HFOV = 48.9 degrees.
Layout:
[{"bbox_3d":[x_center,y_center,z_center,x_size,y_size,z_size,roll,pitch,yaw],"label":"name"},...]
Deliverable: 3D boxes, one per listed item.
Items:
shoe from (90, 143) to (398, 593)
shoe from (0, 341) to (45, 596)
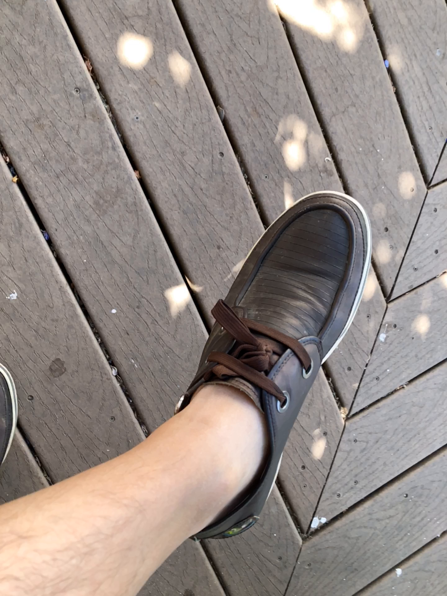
[{"bbox_3d":[0.019,0.041,0.334,0.090,0.084,0.255,24,90,26],"label":"shoe"},{"bbox_3d":[-0.306,0.189,0.552,0.104,0.099,0.245,26,89,-18],"label":"shoe"}]
